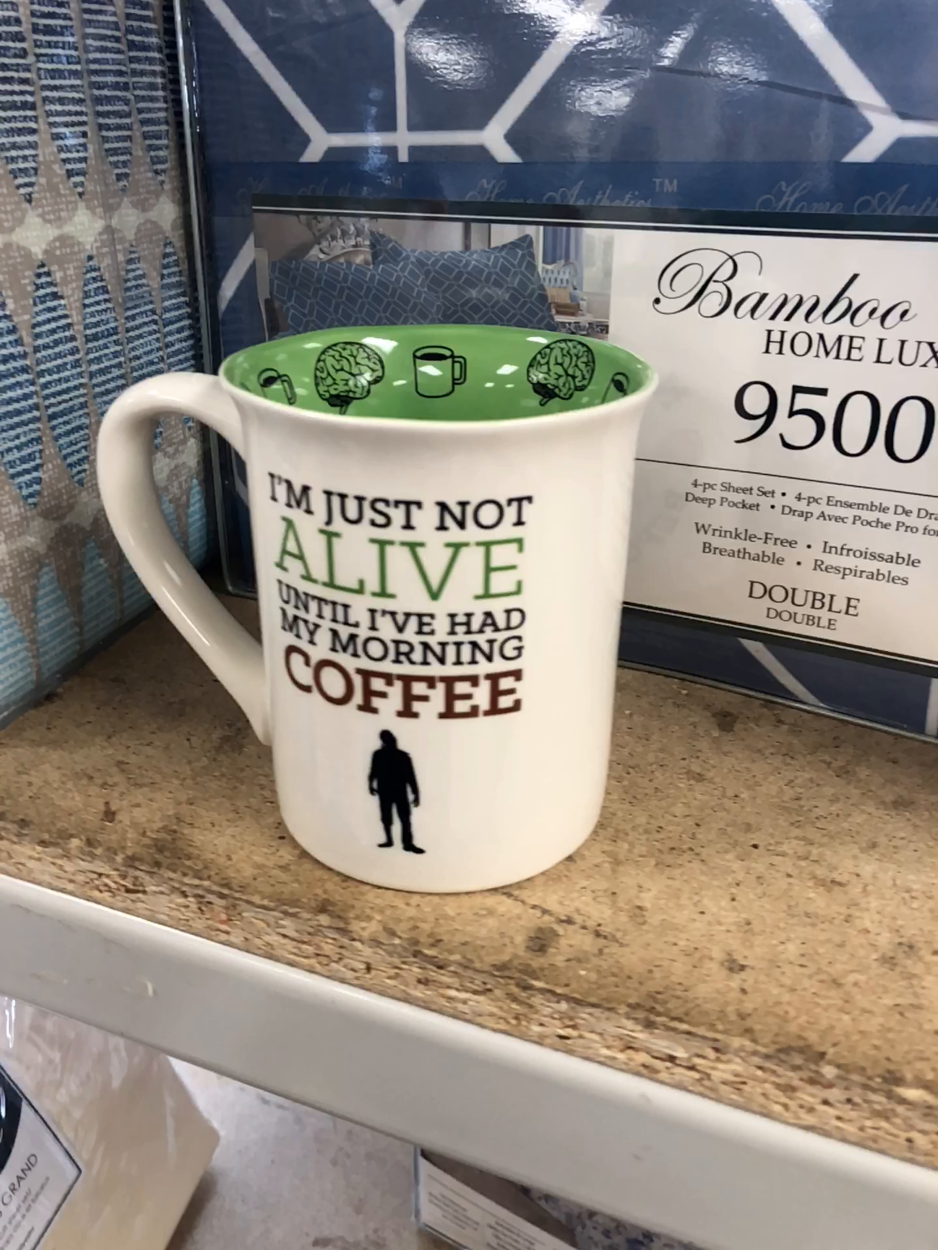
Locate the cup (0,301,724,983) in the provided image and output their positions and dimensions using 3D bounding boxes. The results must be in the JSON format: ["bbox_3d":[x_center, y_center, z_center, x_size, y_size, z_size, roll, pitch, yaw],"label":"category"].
[{"bbox_3d":[-0.019,-0.008,0.270,0.138,0.124,0.100,10,27,20],"label":"cup"}]
